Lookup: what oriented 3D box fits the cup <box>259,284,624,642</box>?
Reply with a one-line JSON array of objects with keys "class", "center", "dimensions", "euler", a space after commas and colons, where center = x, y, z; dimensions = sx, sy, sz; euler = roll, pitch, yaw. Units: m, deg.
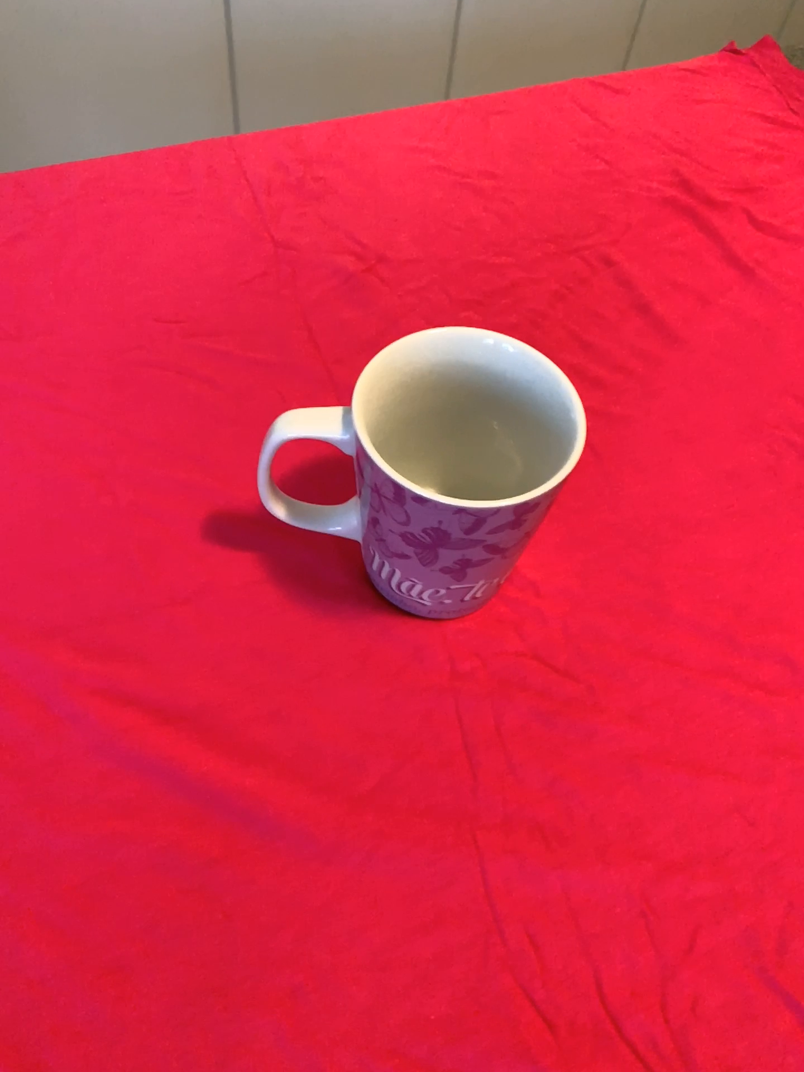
[{"class": "cup", "center": [0.008, -0.022, 0.311], "dimensions": [0.110, 0.100, 0.080], "euler": [5, 56, -4]}]
